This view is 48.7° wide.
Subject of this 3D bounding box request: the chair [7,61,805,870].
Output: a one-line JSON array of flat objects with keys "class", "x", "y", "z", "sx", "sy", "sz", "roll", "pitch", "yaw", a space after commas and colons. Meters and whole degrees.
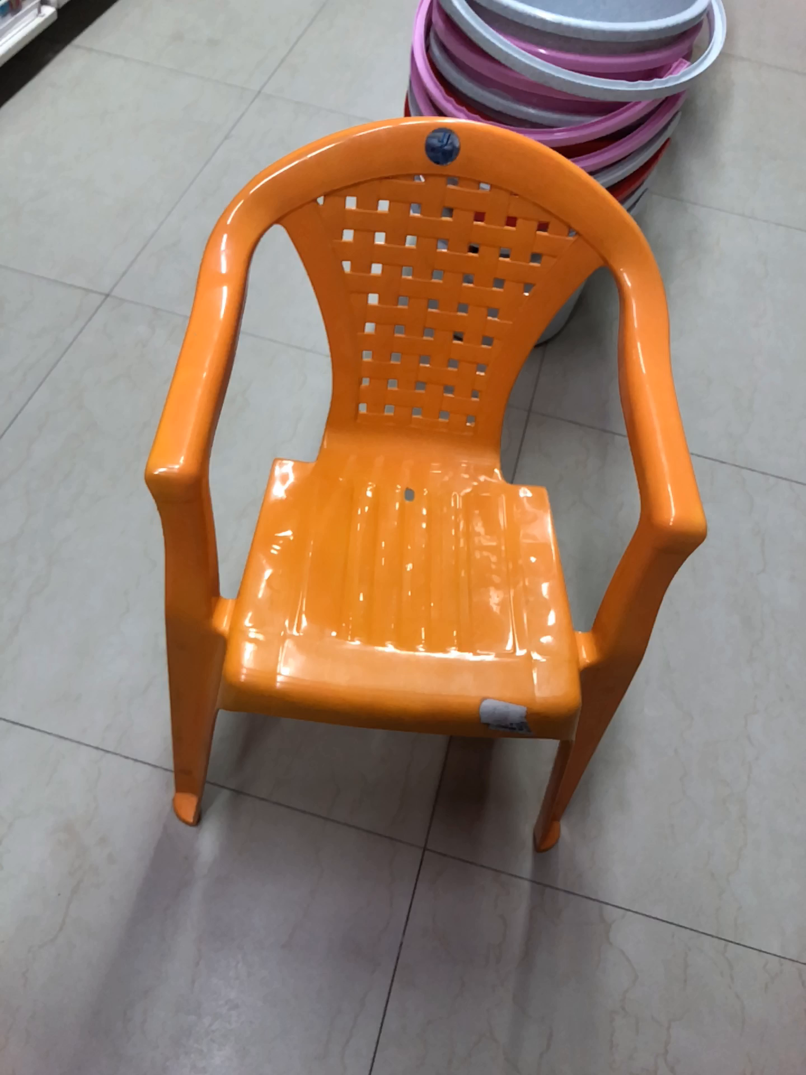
[{"class": "chair", "x": 0.001, "y": -0.024, "z": 0.720, "sx": 0.390, "sy": 0.467, "sz": 0.402, "roll": 7, "pitch": 53, "yaw": -3}]
